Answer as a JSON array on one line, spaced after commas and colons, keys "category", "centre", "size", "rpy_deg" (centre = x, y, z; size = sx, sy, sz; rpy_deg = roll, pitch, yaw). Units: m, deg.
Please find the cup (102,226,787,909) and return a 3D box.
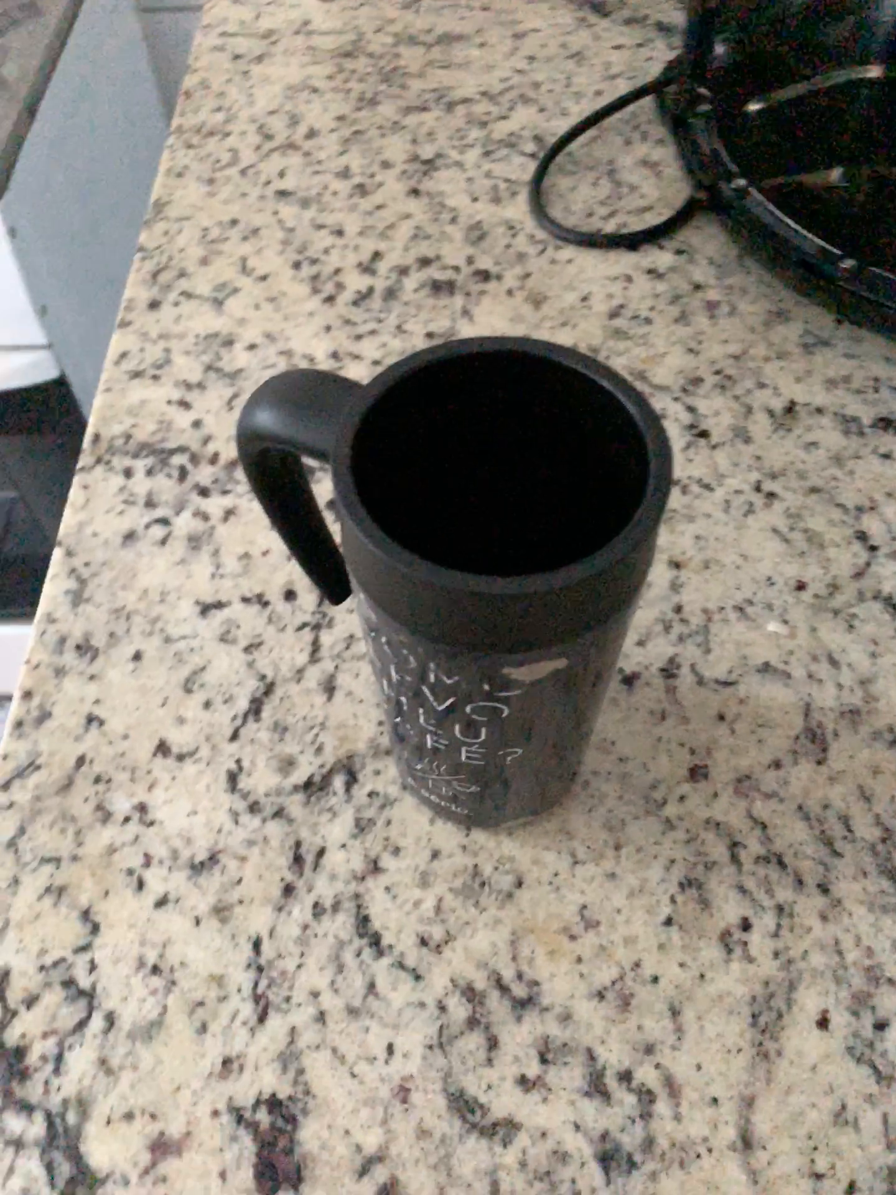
[{"category": "cup", "centre": [0.001, 0.000, 0.252], "size": [0.120, 0.140, 0.080], "rpy_deg": [26, 60, 17]}]
